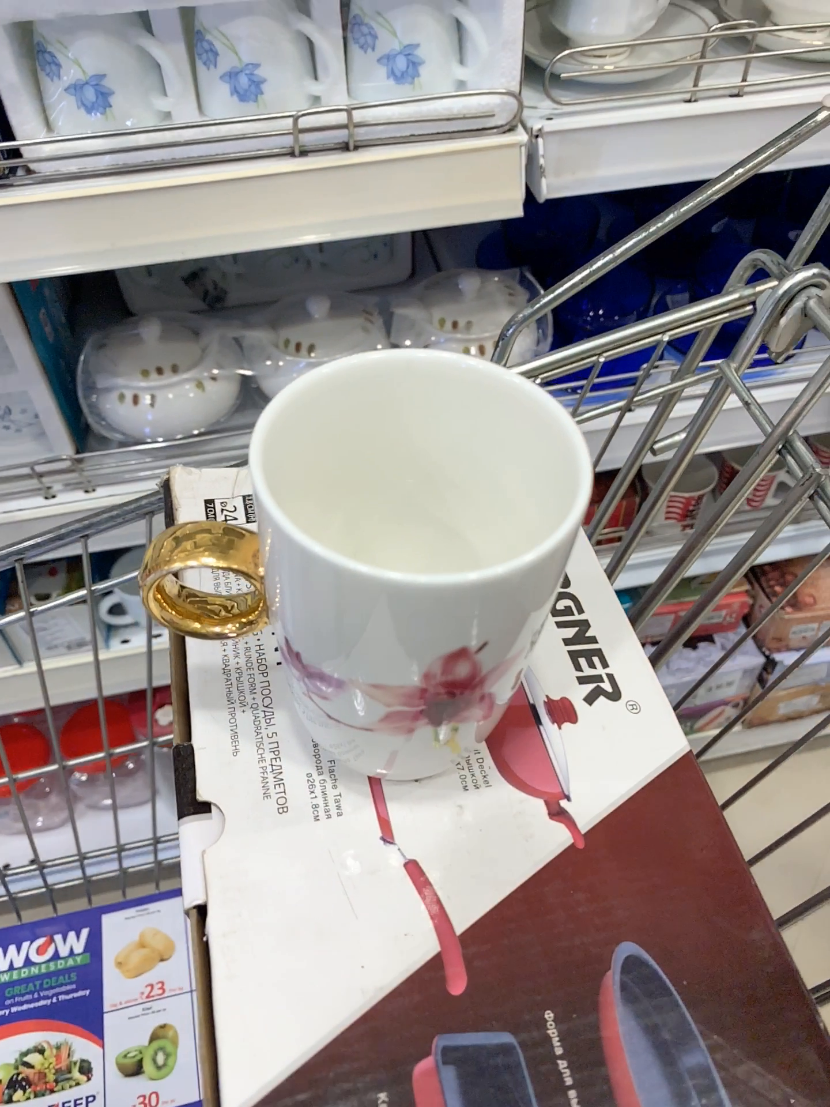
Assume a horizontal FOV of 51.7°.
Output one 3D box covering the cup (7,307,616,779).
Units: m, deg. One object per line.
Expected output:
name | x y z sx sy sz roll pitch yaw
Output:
cup | -0.019 0.001 0.211 0.110 0.090 0.070 3 50 0
